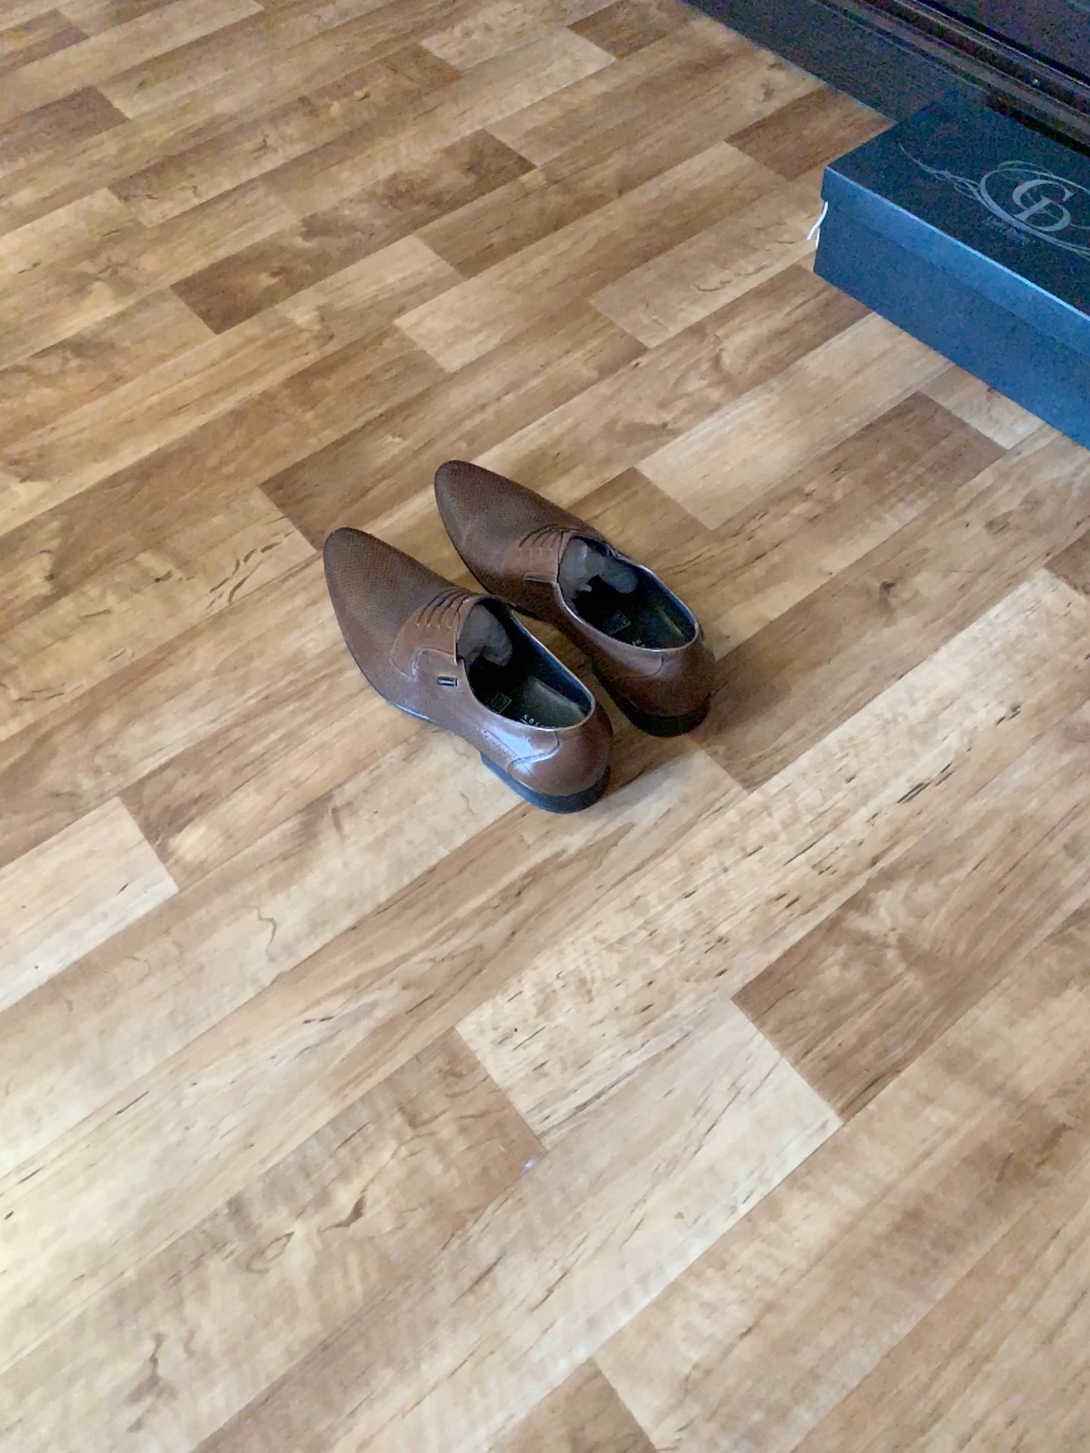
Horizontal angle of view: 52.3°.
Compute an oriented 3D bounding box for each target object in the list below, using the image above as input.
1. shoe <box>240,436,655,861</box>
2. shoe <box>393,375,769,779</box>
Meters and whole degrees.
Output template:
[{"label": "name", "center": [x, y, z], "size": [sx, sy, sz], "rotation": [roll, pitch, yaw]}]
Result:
[{"label": "shoe", "center": [-0.071, -0.063, 0.790], "size": [0.110, 0.100, 0.311], "rotation": [-39, 64, -17]}, {"label": "shoe", "center": [0.021, -0.118, 0.840], "size": [0.100, 0.120, 0.301], "rotation": [-36, 63, -16]}]
